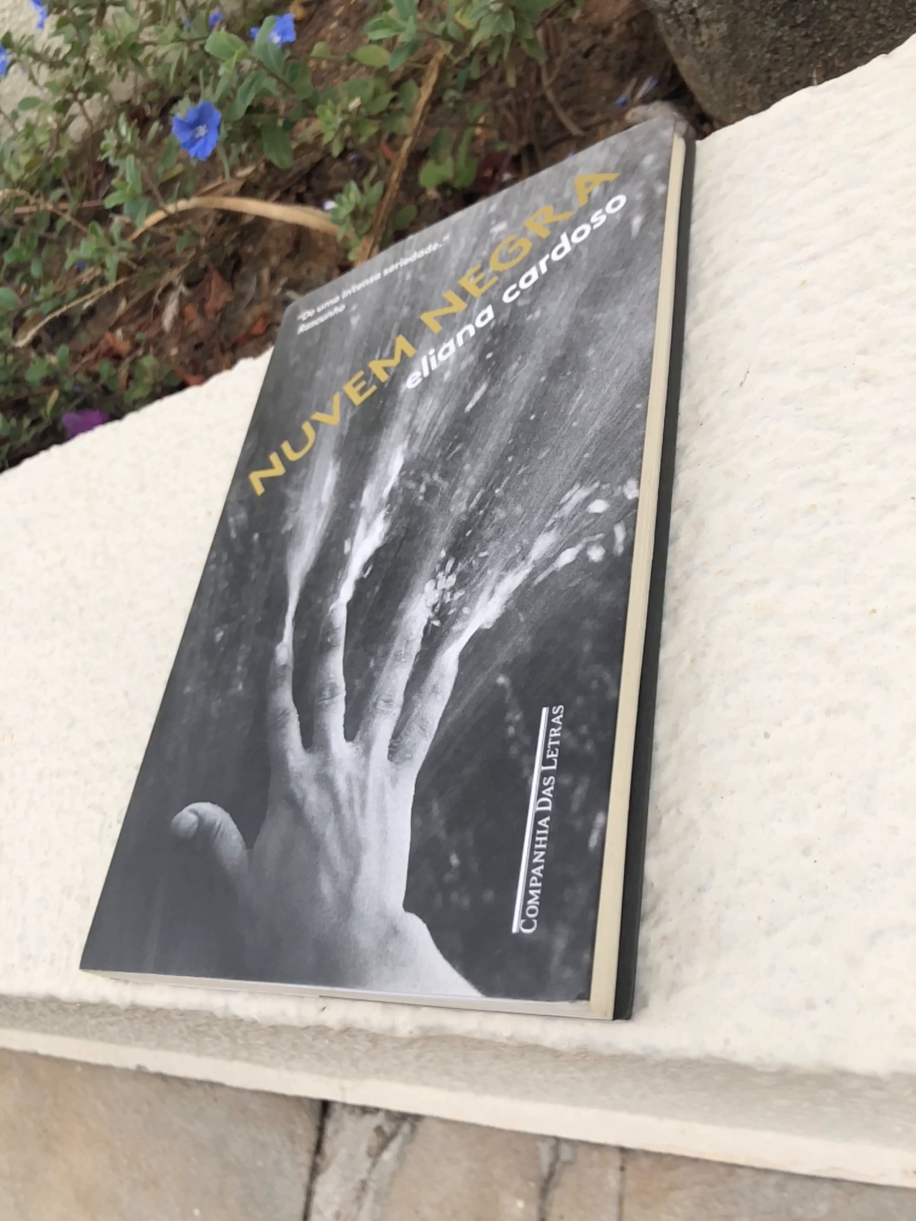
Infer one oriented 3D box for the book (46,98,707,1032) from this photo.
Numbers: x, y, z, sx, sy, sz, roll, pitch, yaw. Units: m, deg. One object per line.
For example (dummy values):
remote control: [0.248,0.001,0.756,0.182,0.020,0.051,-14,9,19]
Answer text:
book: [-0.016,-0.017,0.237,0.141,0.013,0.200,-10,57,35]
